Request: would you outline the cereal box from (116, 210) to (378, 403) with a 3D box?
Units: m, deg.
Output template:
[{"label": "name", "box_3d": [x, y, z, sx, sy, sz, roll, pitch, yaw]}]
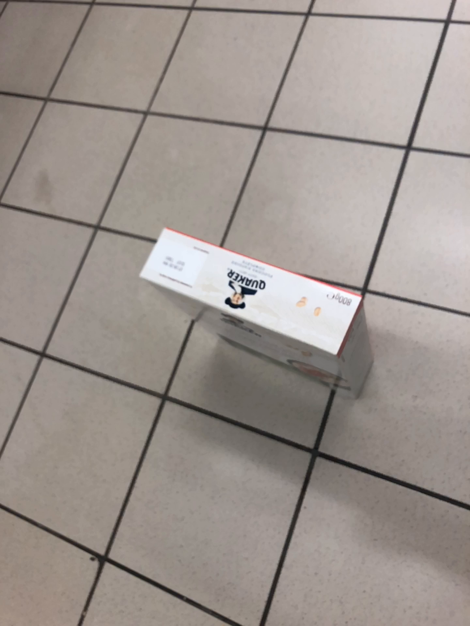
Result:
[{"label": "cereal box", "box_3d": [0.030, 0.004, 0.532, 0.210, 0.230, 0.060, 21, 78, 22]}]
